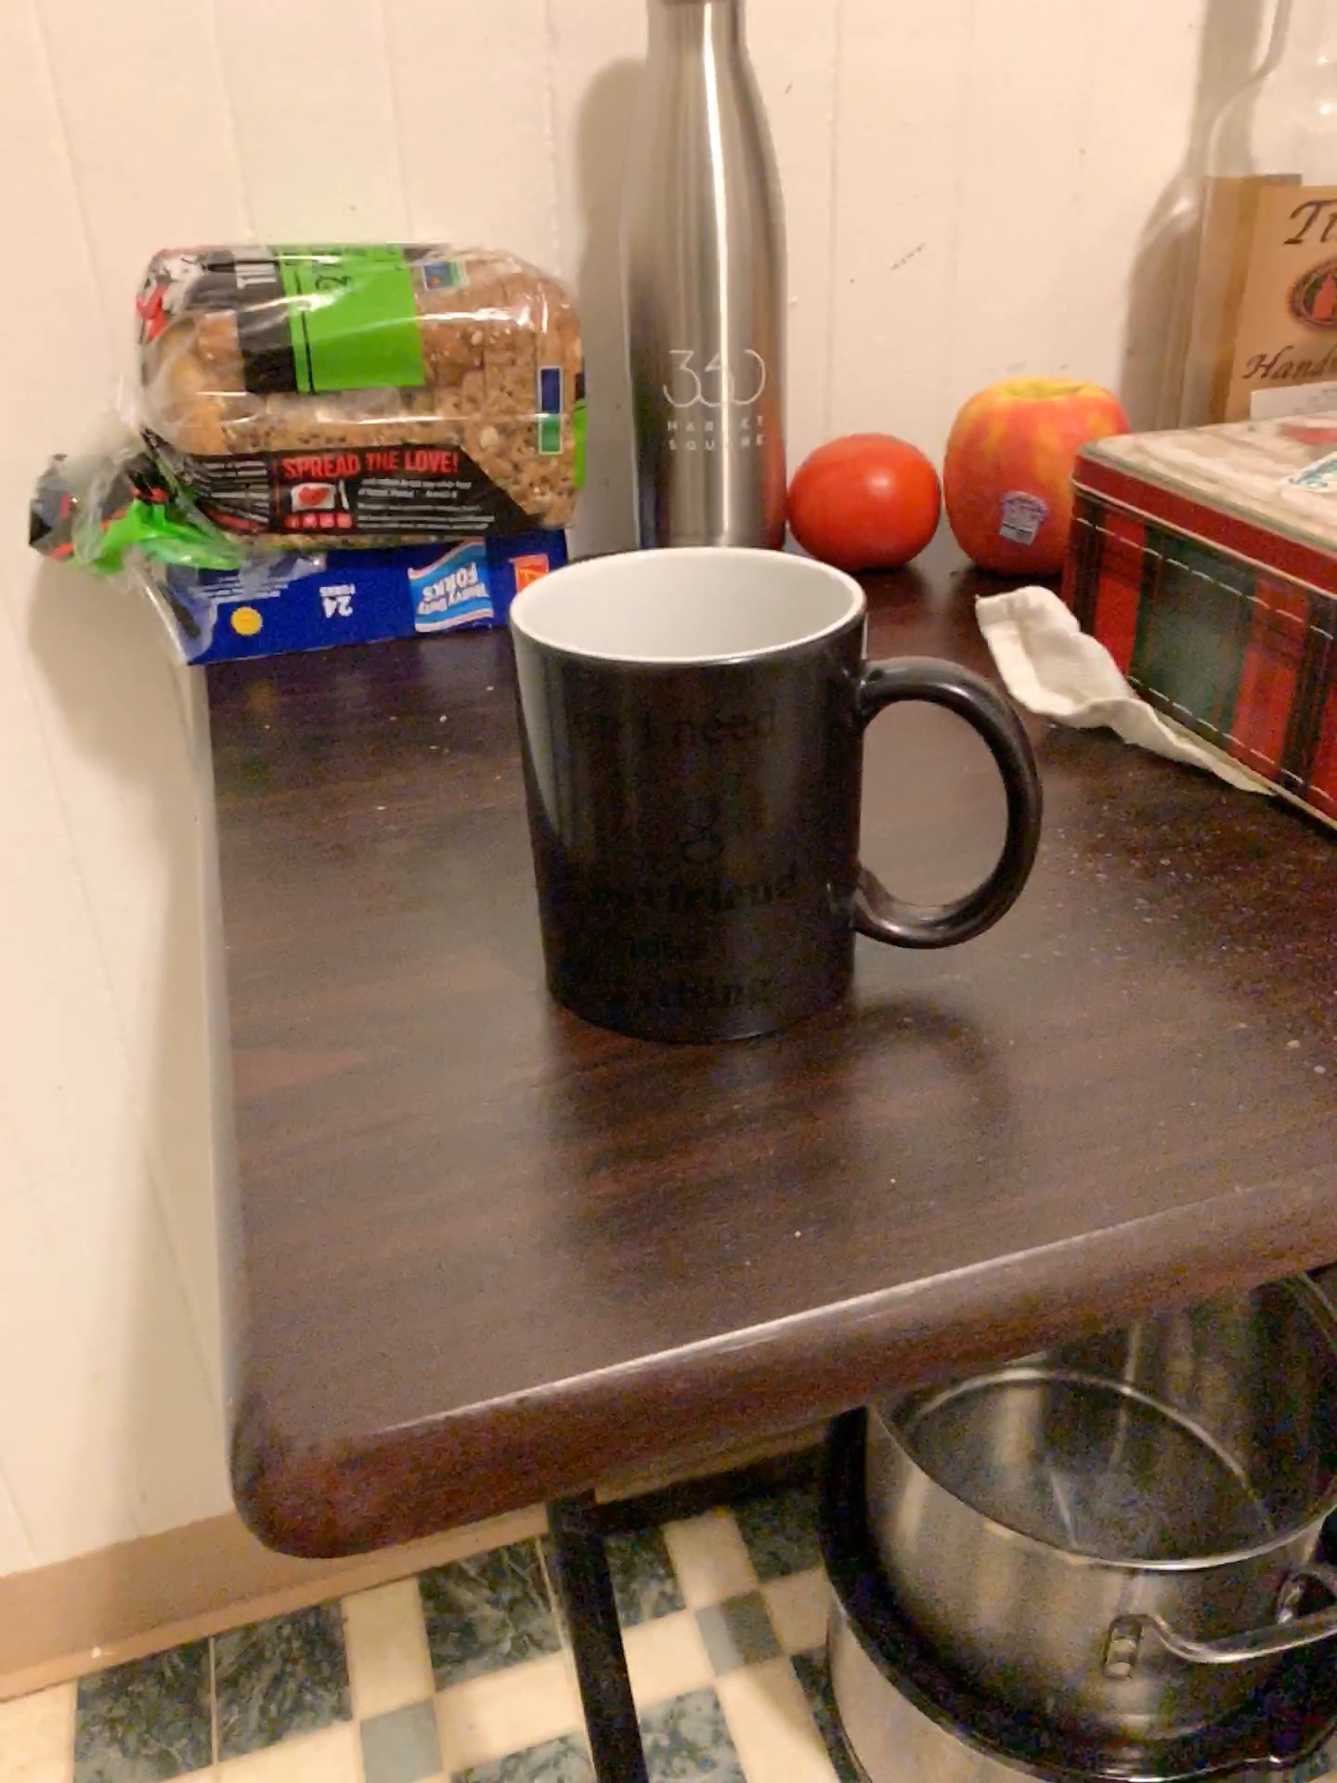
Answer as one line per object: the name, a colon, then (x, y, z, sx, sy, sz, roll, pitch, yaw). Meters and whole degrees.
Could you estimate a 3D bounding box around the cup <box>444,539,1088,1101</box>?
cup: (0.027, -0.022, 0.331, 0.130, 0.099, 0.080, 5, 31, 13)
